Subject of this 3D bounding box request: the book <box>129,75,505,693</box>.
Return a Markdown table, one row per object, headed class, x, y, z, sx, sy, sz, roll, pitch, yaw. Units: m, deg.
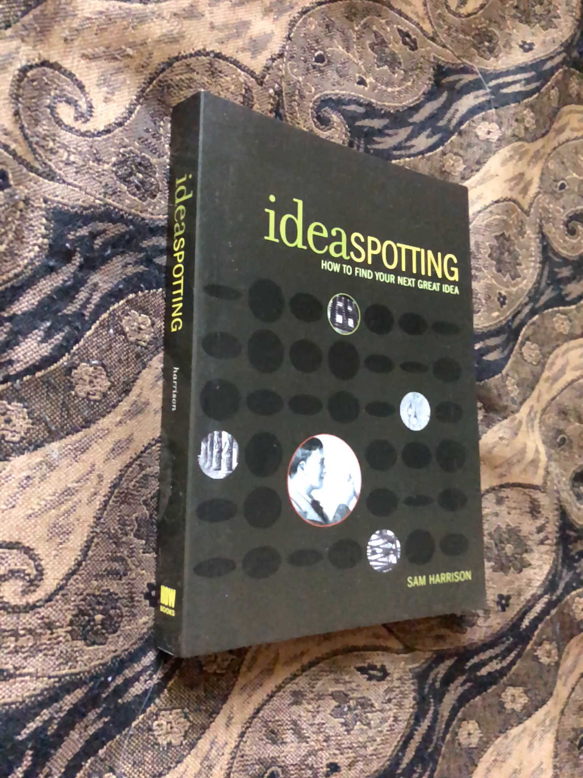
| class | x | y | z | sx | sy | sz | roll | pitch | yaw |
| --- | --- | --- | --- | --- | --- | --- | --- | --- | --- |
| book | 0.016 | 0.000 | 0.246 | 0.141 | 0.040 | 0.180 | 4 | 83 | -35 |
